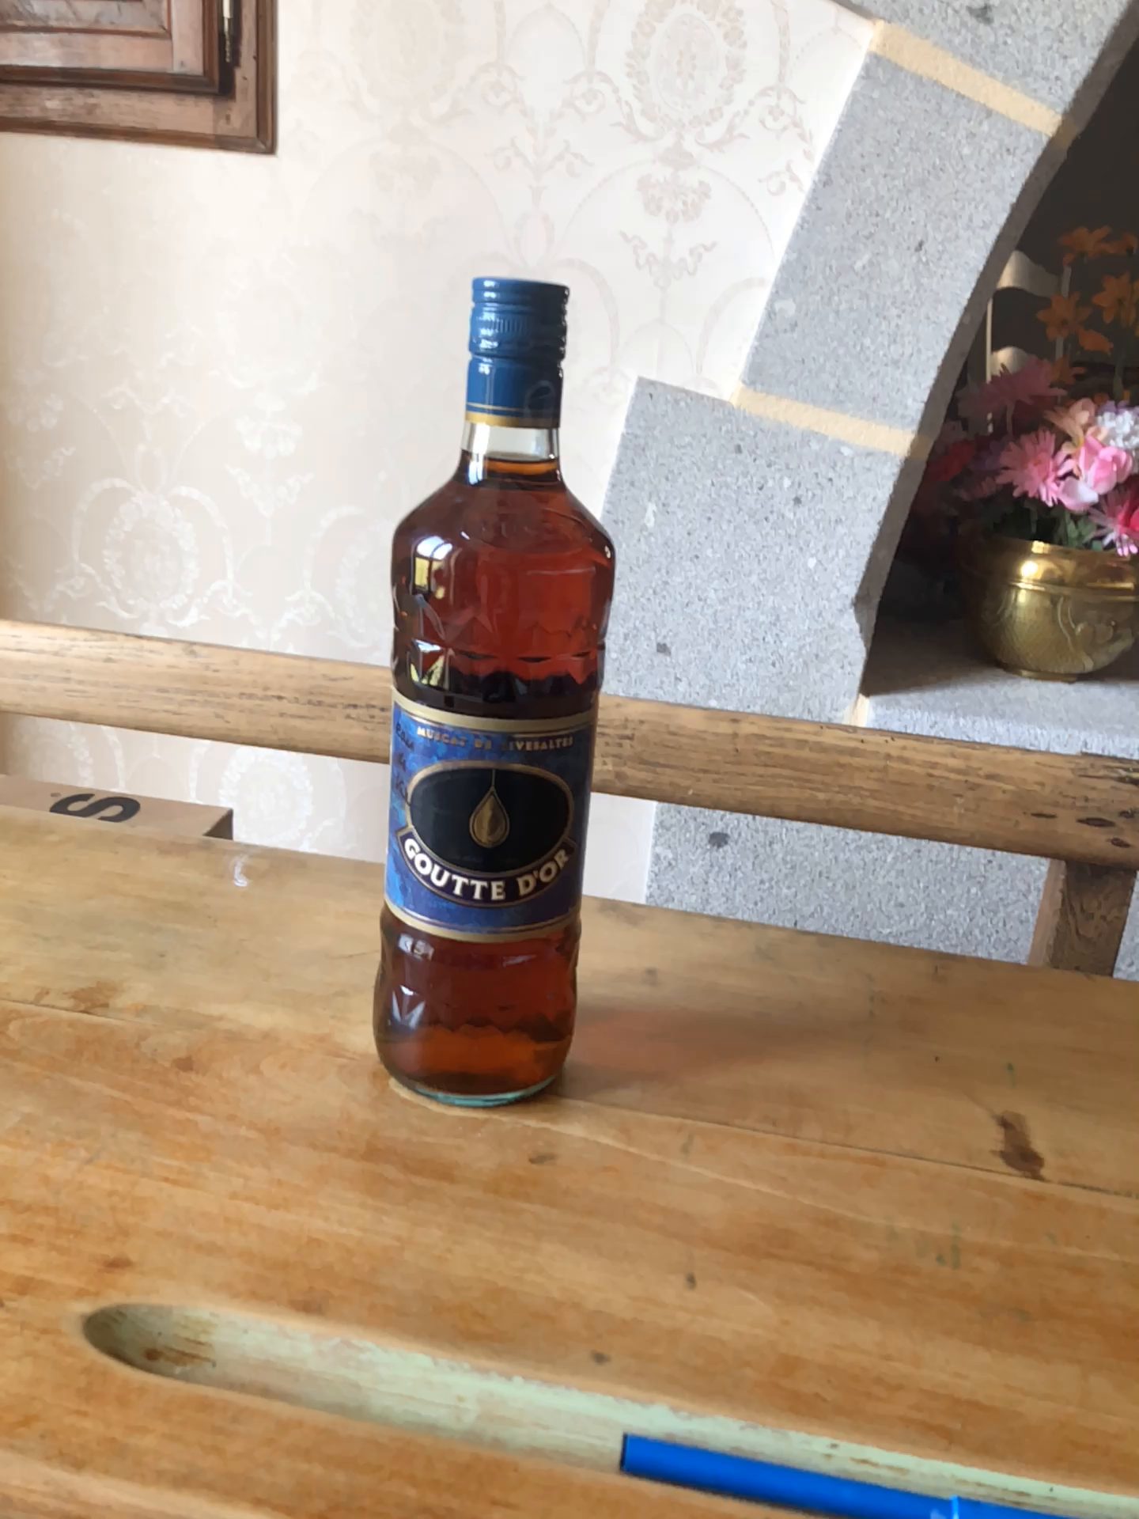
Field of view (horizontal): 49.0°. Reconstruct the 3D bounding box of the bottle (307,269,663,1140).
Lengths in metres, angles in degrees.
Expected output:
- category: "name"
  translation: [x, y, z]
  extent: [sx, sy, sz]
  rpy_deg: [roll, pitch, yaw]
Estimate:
- category: "bottle"
  translation: [-0.031, -0.020, 0.446]
  extent: [0.090, 0.279, 0.101]
  rpy_deg: [7, 19, 7]
